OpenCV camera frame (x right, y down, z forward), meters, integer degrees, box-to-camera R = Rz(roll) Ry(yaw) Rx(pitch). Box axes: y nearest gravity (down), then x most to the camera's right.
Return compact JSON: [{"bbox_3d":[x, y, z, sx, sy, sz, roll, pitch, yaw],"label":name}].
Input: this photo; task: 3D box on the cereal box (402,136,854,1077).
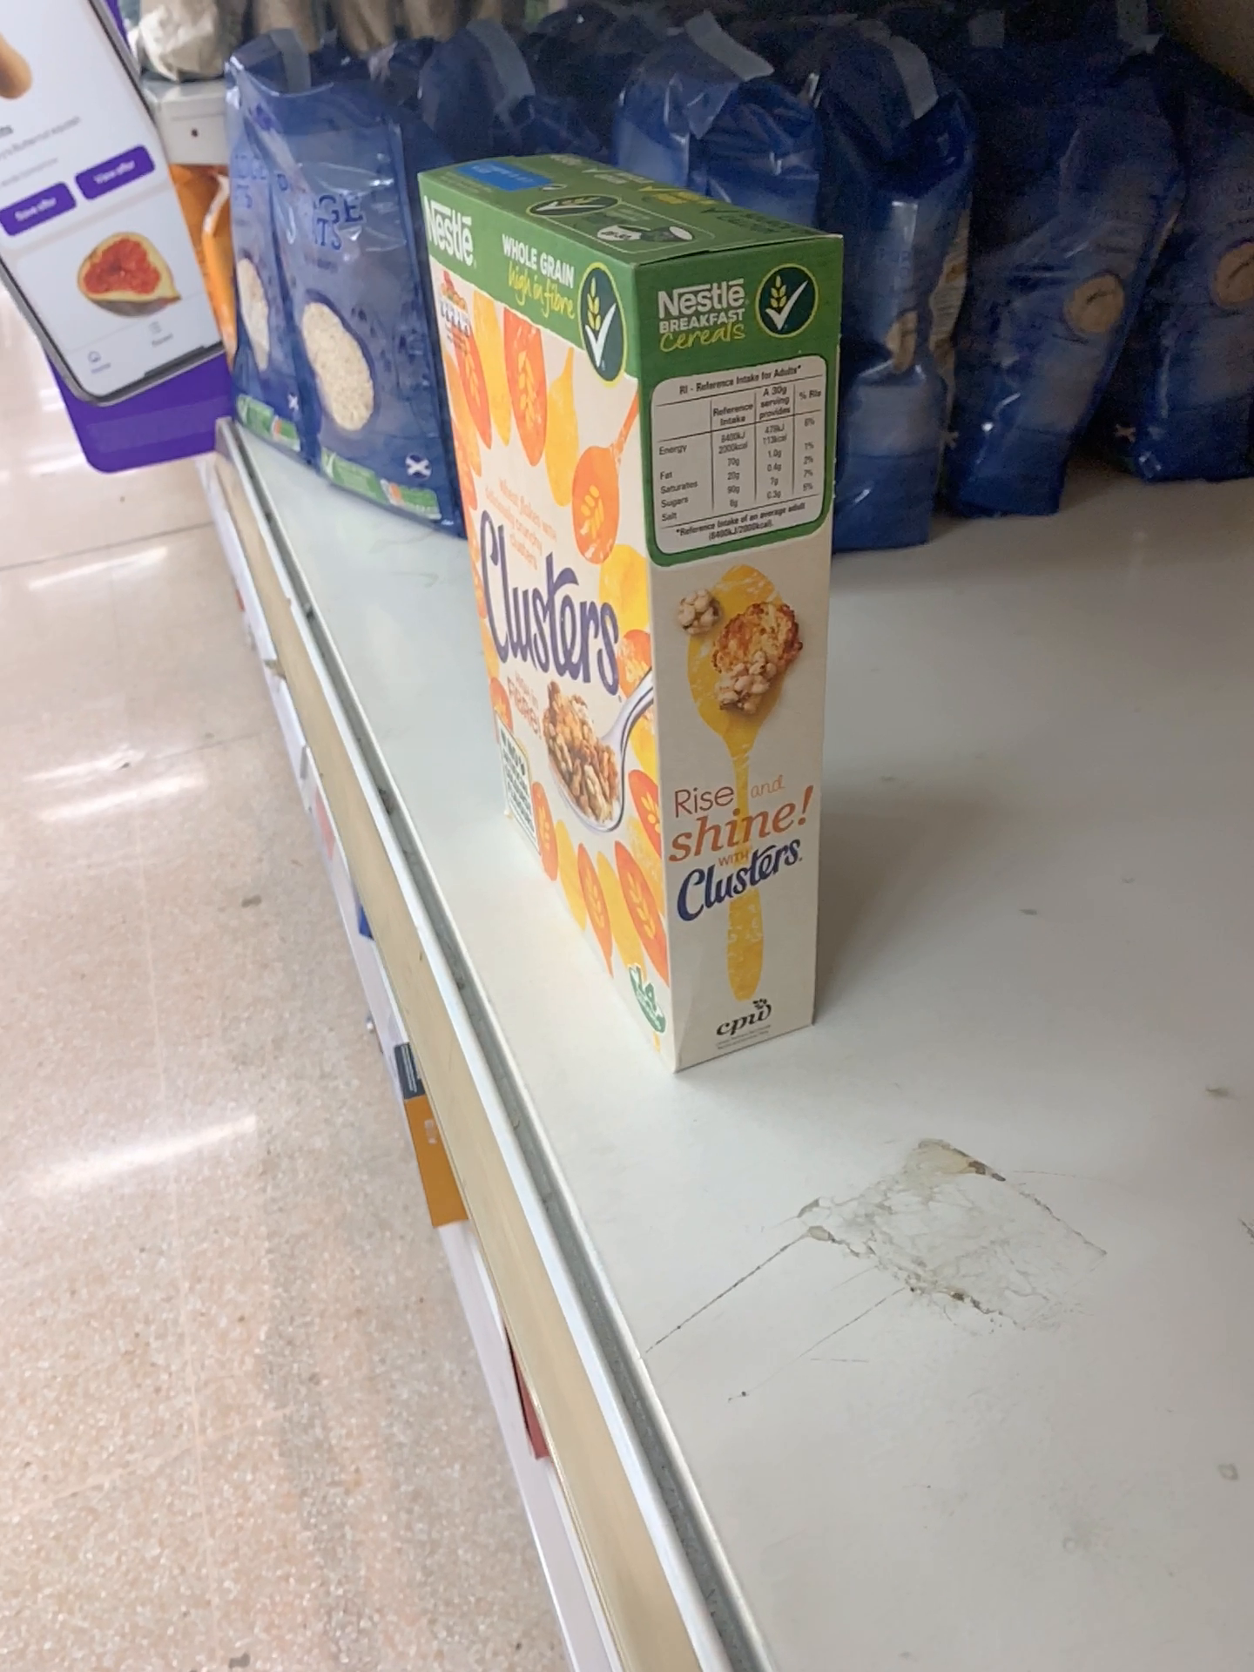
[{"bbox_3d":[-0.005,-0.086,0.460,0.060,0.267,0.202,-16,36,-17],"label":"cereal box"}]
